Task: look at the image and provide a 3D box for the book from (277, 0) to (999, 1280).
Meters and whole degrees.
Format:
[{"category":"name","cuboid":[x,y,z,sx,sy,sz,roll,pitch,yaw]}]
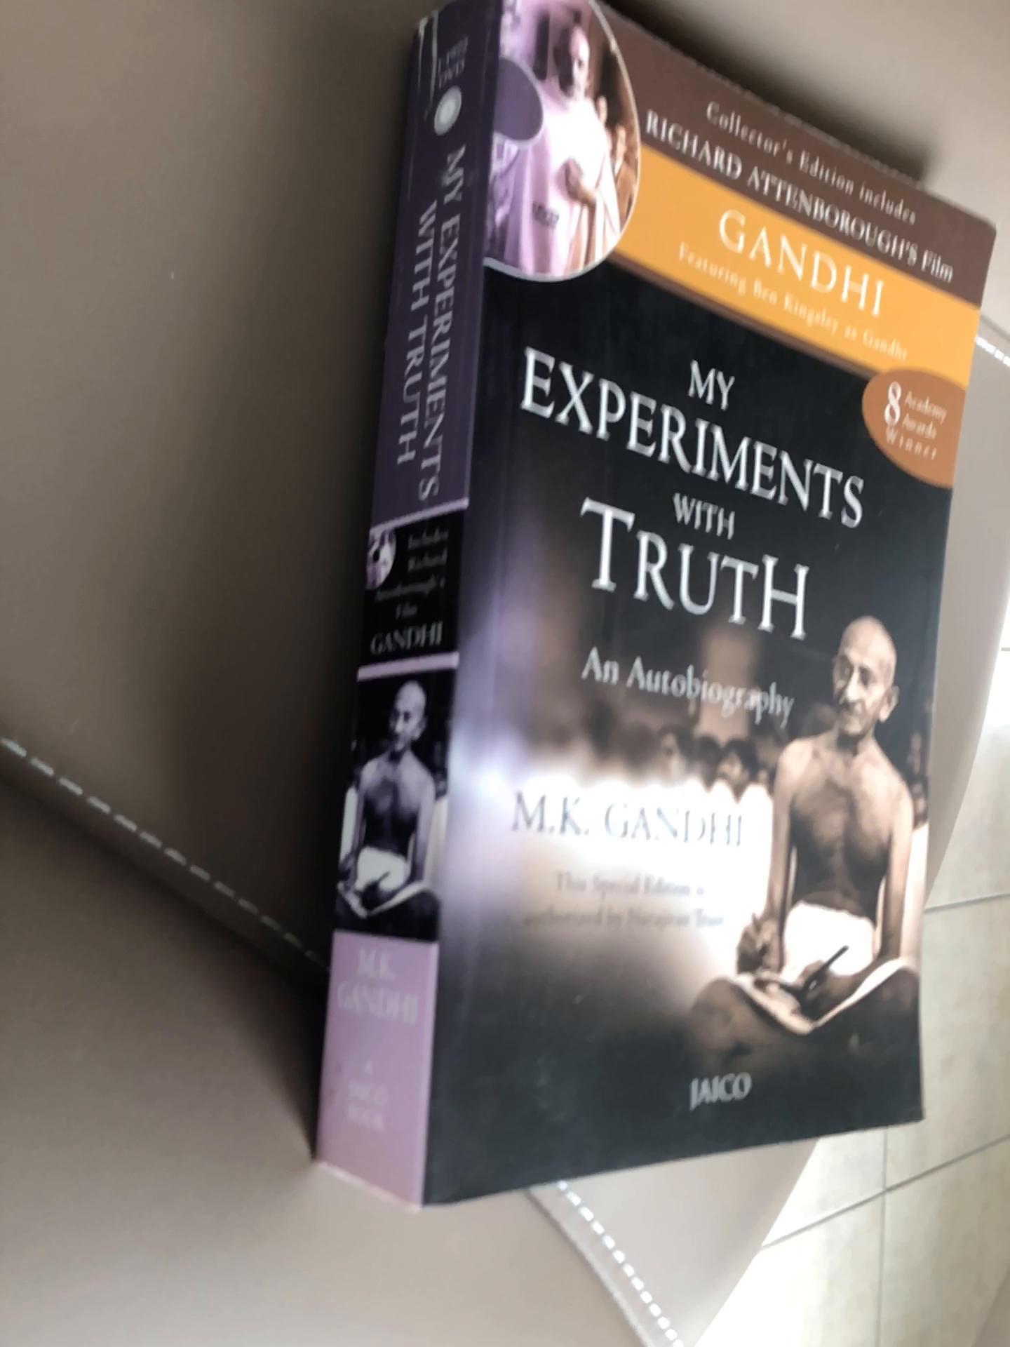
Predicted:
[{"category":"book","cuboid":[0.043,-0.014,0.249,0.151,0.050,0.240,11,80,-37]}]
